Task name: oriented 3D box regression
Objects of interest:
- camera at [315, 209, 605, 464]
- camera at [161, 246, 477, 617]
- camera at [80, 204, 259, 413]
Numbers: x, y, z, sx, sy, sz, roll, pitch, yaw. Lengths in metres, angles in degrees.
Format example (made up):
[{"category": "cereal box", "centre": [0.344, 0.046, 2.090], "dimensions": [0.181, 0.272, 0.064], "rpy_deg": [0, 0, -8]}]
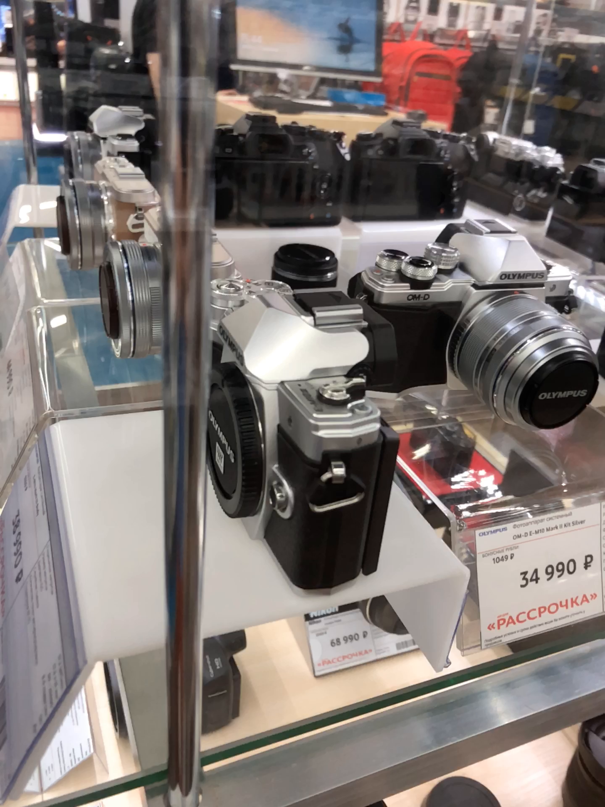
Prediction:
[{"category": "camera", "centre": [0.094, -0.044, 0.345], "dimensions": [0.136, 0.084, 0.102], "rpy_deg": [-9, 32, -25]}, {"category": "camera", "centre": [-0.006, -0.001, 0.246], "dimensions": [0.064, 0.077, 0.122], "rpy_deg": [-7, 31, -22]}, {"category": "camera", "centre": [-0.077, -0.059, 0.365], "dimensions": [0.068, 0.068, 0.125], "rpy_deg": [-6, 31, -21]}]
